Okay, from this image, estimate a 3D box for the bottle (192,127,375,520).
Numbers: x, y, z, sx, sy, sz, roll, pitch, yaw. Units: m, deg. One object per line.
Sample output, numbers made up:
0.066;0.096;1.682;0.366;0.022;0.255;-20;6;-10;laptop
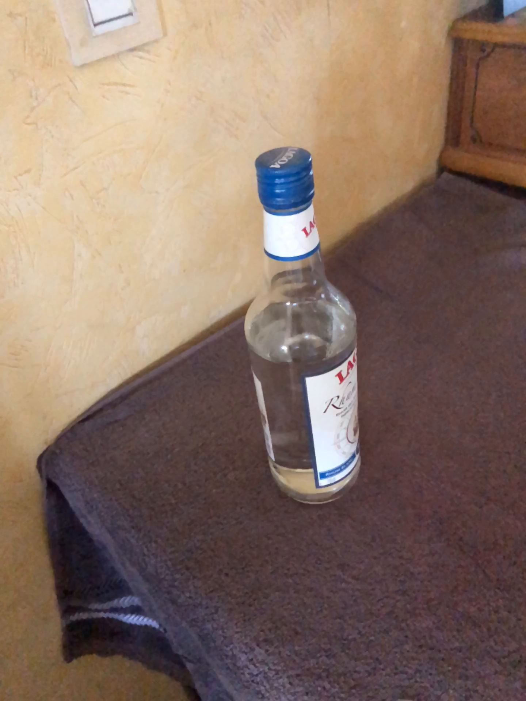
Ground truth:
0.030;-0.001;0.393;0.080;0.268;0.081;-5;41;5;bottle
